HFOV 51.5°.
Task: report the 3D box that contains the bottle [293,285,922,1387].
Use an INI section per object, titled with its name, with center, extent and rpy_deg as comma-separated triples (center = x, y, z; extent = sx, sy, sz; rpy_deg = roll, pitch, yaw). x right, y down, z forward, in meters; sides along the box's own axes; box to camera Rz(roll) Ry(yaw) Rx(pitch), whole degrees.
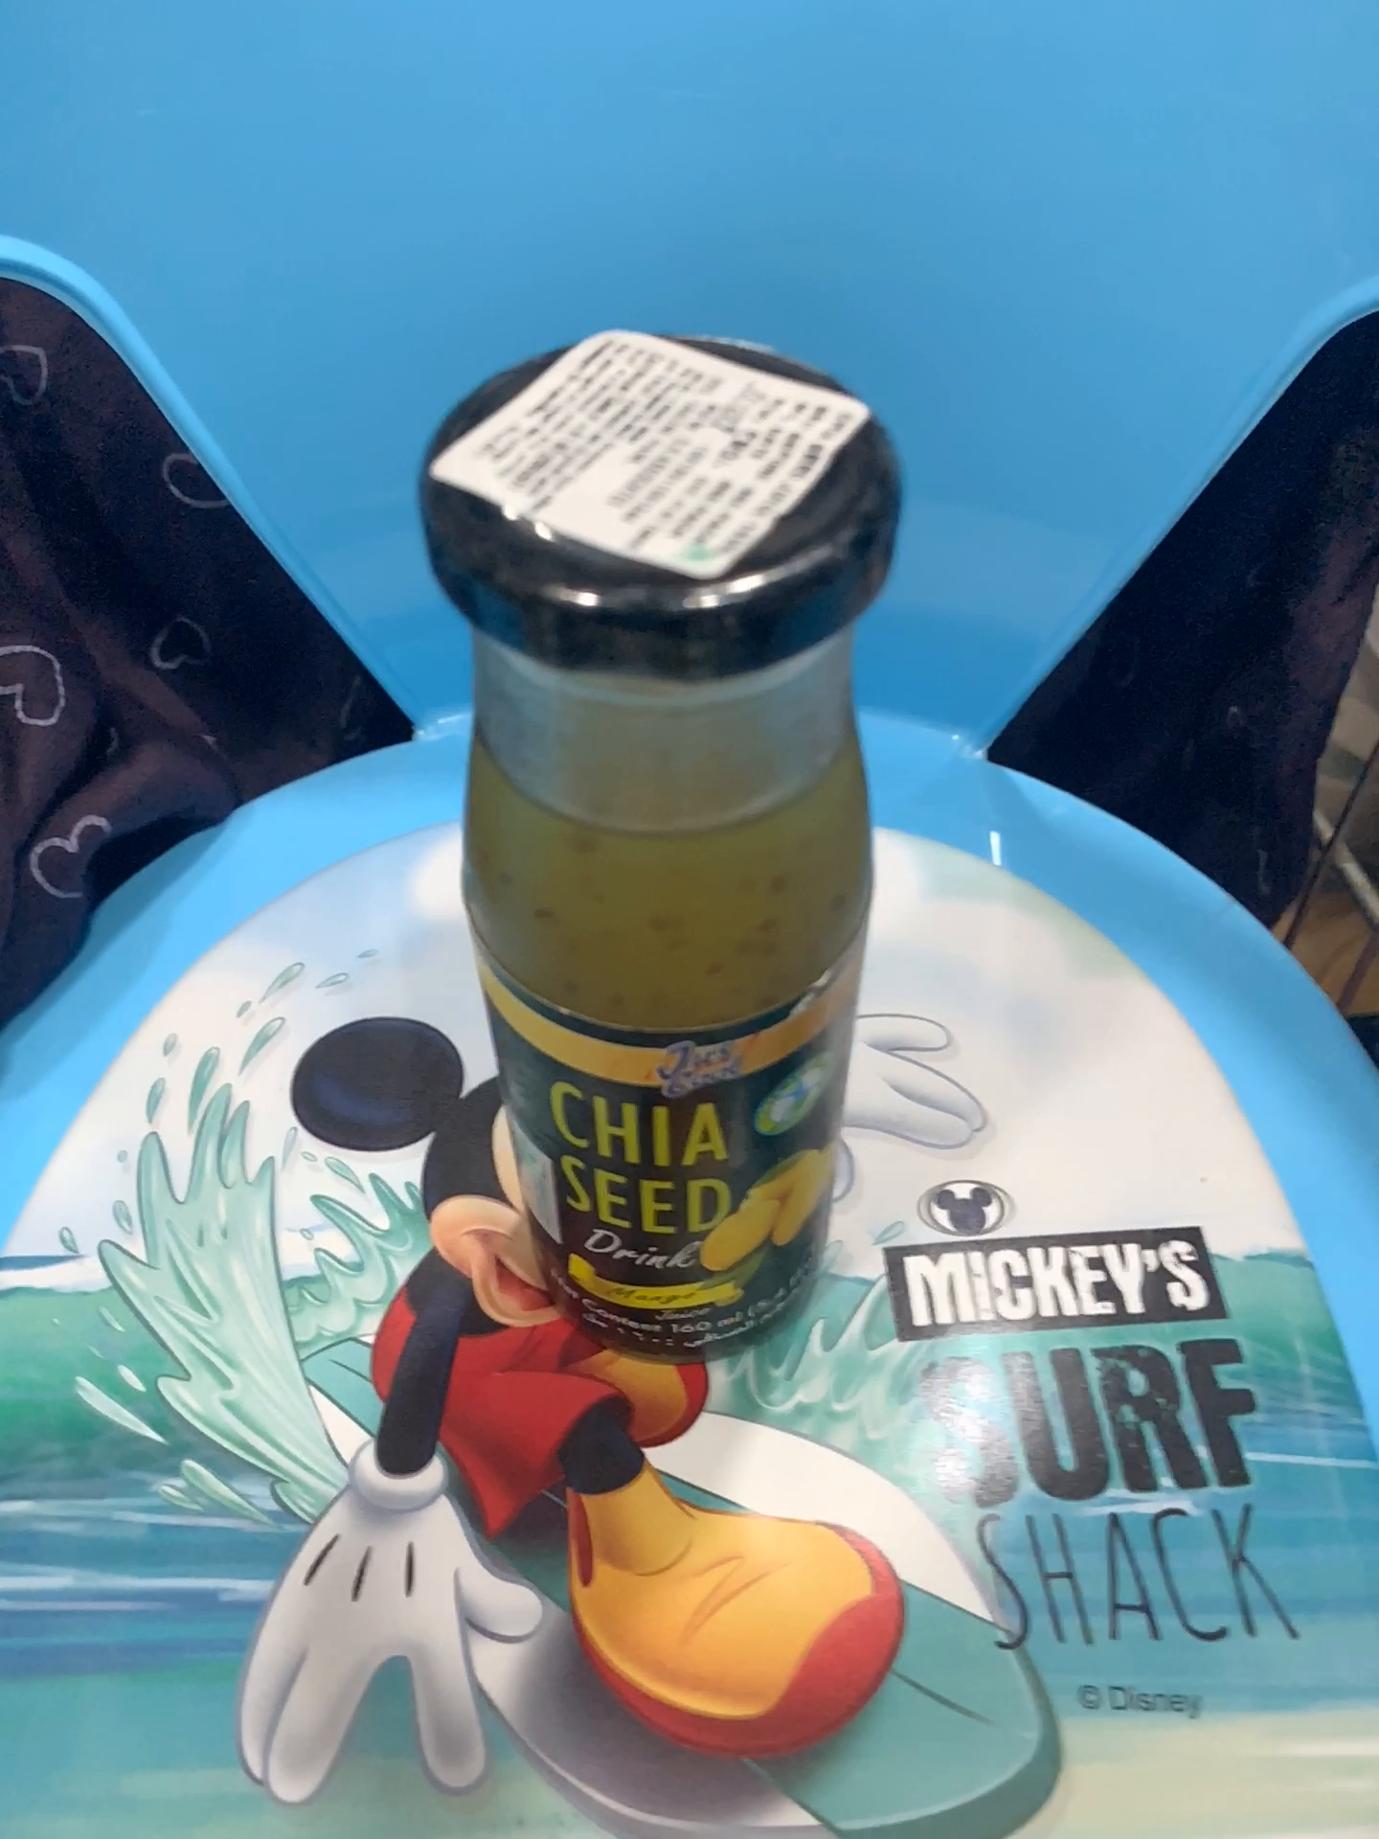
[bottle]
center = -0.003, 0.001, 0.180
extent = 0.050, 0.140, 0.050
rpy_deg = -1, 46, 1
